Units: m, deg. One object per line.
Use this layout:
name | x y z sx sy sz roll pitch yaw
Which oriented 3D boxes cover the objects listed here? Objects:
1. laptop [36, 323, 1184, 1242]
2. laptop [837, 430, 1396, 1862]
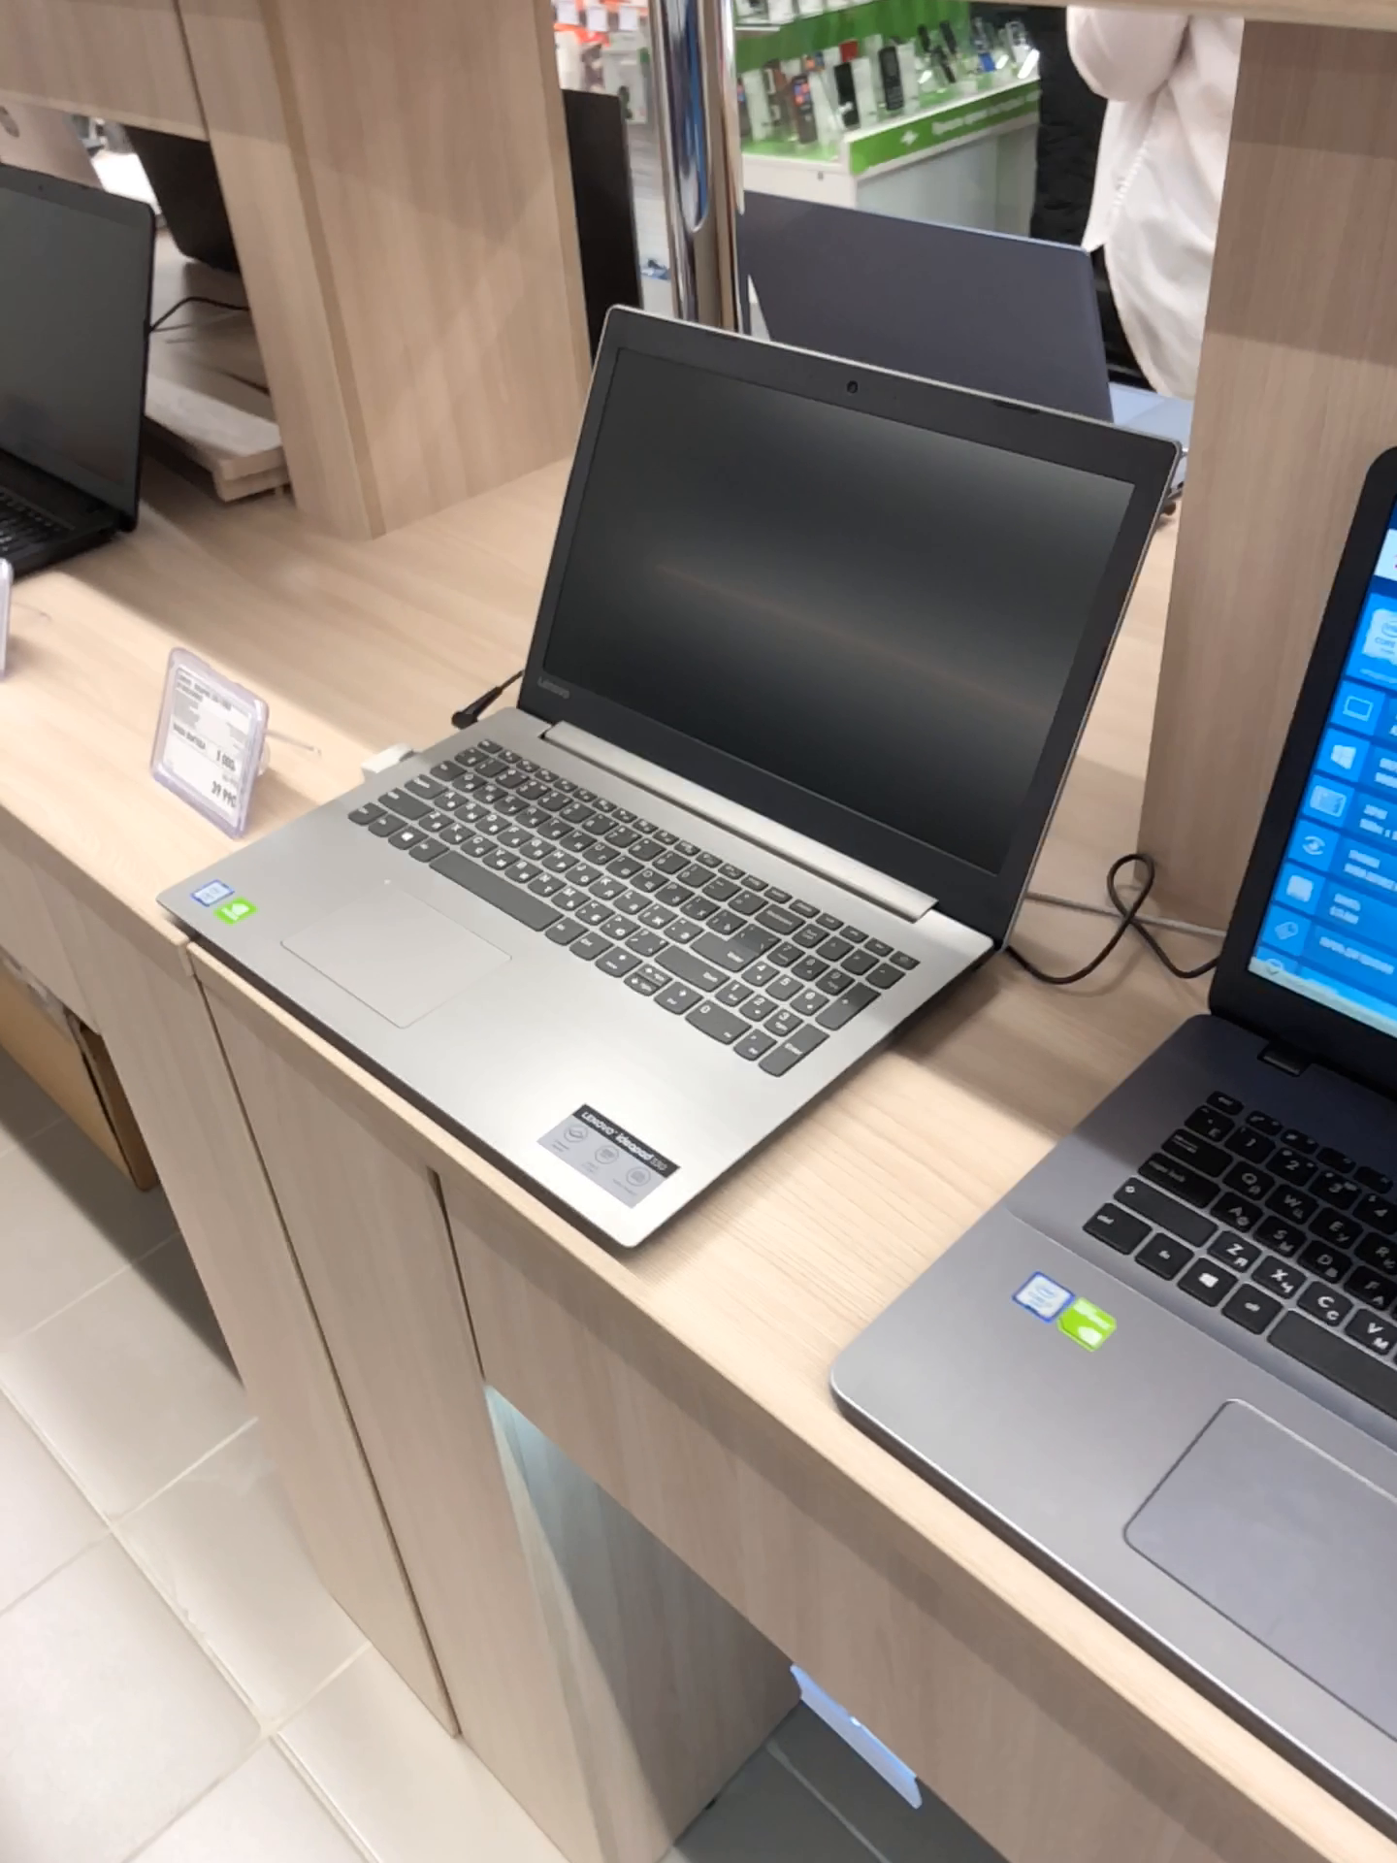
laptop | -0.038 -0.116 0.757 0.366 0.208 0.371 -34 45 -32
laptop | 0.299 0.068 0.455 0.334 0.246 0.404 -34 46 -31
